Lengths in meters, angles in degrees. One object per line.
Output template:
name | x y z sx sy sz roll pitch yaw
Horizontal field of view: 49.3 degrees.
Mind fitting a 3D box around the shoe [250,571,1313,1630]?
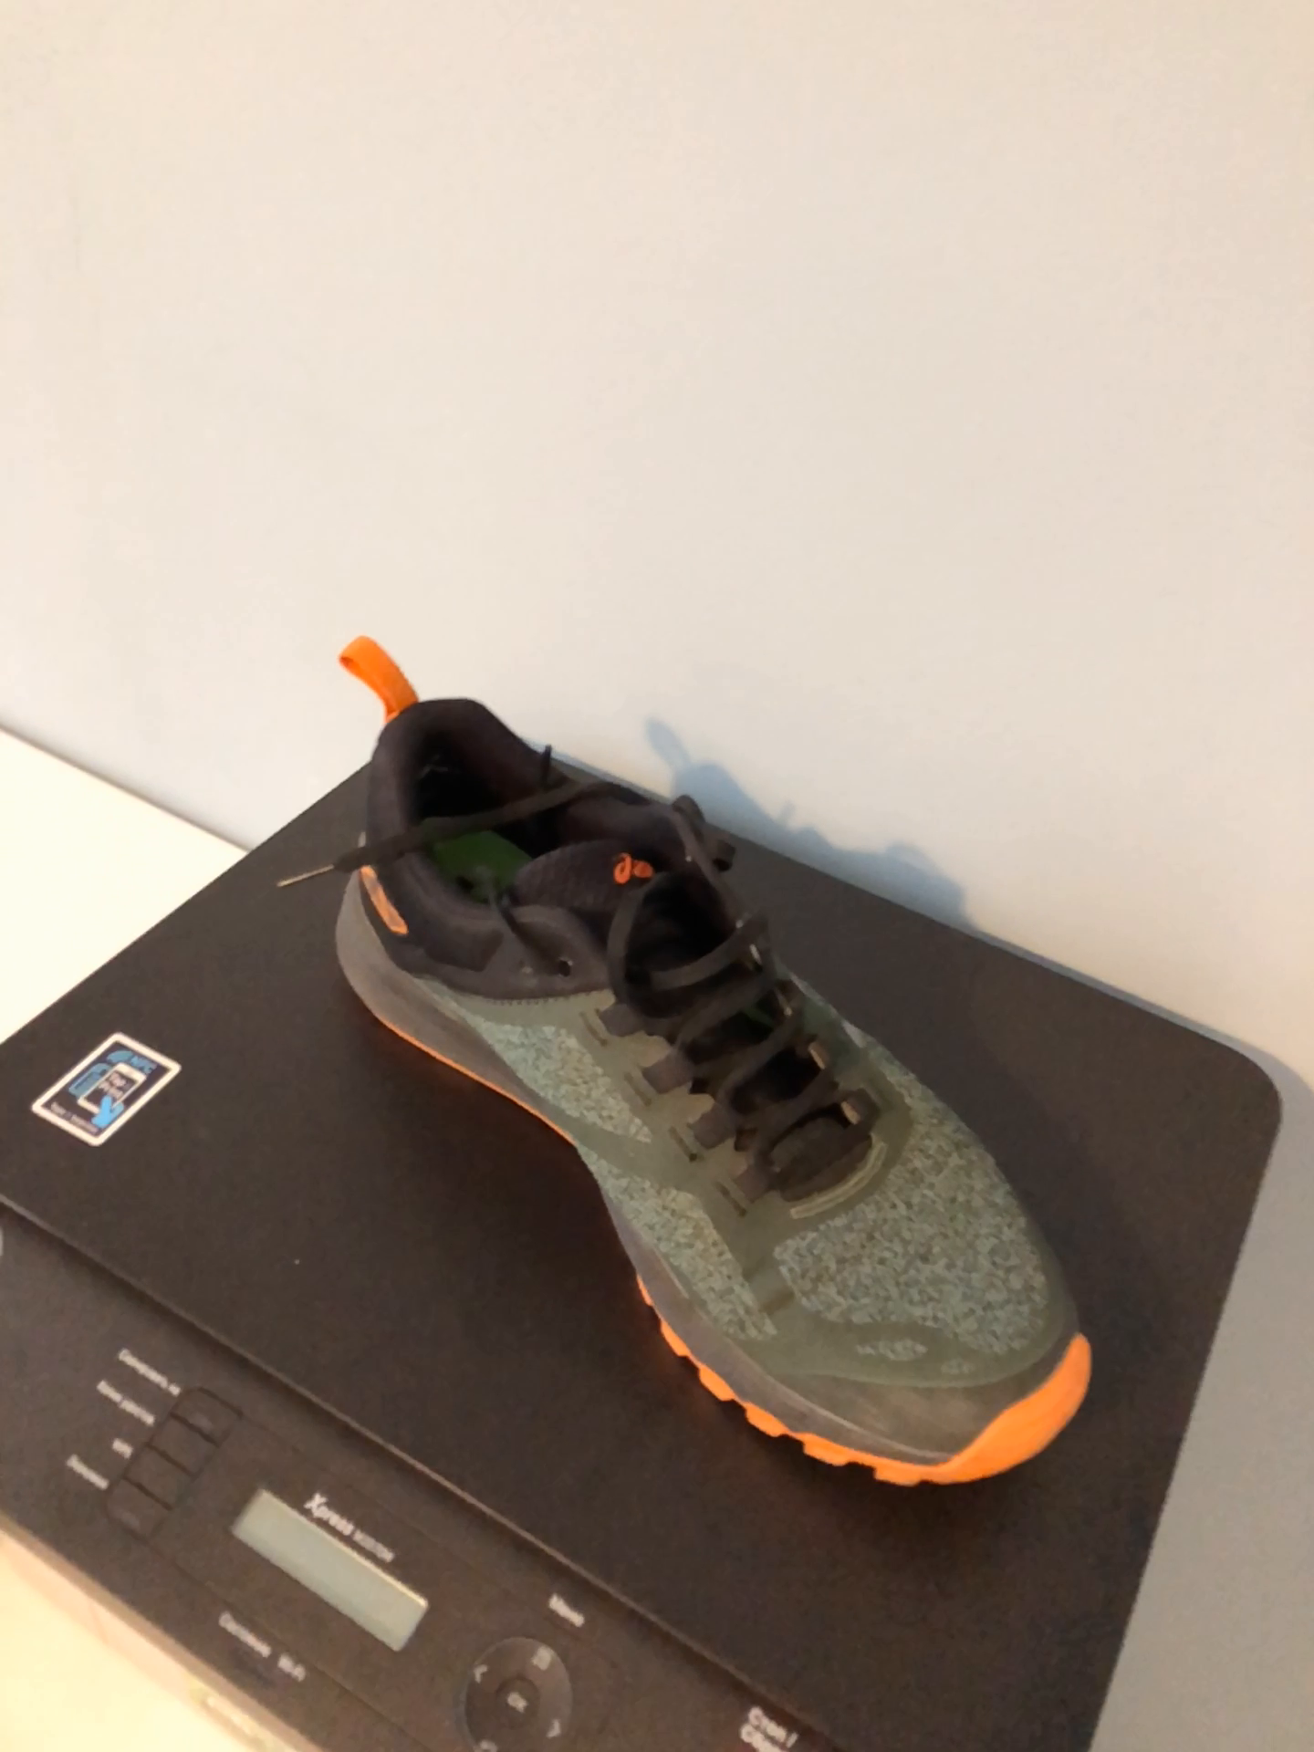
shoe | 0.014 0.041 0.442 0.121 0.119 0.311 -28 51 -32
